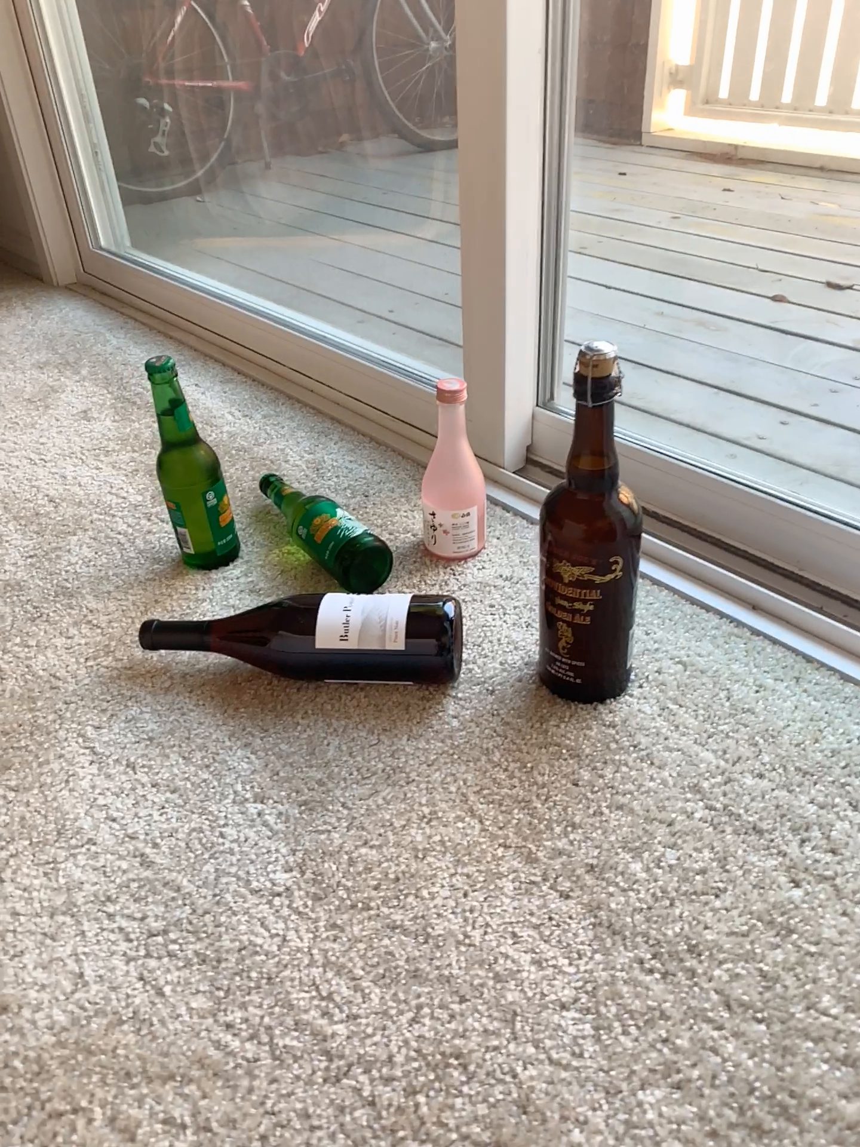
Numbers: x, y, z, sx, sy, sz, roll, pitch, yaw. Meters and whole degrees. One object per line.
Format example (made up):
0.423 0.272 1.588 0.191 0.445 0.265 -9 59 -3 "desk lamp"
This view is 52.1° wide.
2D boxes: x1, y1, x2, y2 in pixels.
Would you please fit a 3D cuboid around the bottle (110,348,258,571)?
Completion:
-0.234 -0.109 0.863 0.080 0.199 0.080 -2 35 1 "bottle"

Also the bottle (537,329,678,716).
0.128 -0.030 0.676 0.080 0.288 0.091 2 35 8 "bottle"

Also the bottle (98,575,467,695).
-0.116 0.049 0.734 0.290 0.060 0.070 1 35 5 "bottle"

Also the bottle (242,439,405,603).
-0.114 -0.061 0.904 0.060 0.060 0.231 -22 40 -26 "bottle"

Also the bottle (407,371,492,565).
0.023 -0.103 0.867 0.070 0.169 0.080 2 35 8 "bottle"
